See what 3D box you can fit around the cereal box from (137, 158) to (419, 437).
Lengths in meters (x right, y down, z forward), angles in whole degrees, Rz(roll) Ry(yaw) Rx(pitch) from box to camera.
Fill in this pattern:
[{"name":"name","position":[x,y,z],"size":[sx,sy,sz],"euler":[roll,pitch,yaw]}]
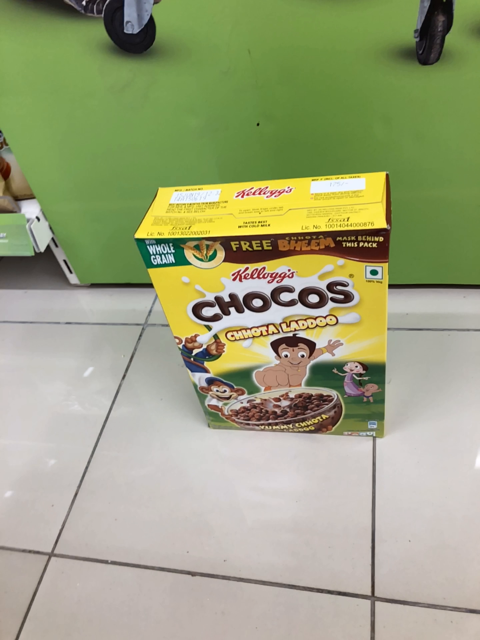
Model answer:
[{"name":"cereal box","position":[0.047,-0.001,0.467],"size":[0.190,0.259,0.070],"euler":[0,47,14]}]
